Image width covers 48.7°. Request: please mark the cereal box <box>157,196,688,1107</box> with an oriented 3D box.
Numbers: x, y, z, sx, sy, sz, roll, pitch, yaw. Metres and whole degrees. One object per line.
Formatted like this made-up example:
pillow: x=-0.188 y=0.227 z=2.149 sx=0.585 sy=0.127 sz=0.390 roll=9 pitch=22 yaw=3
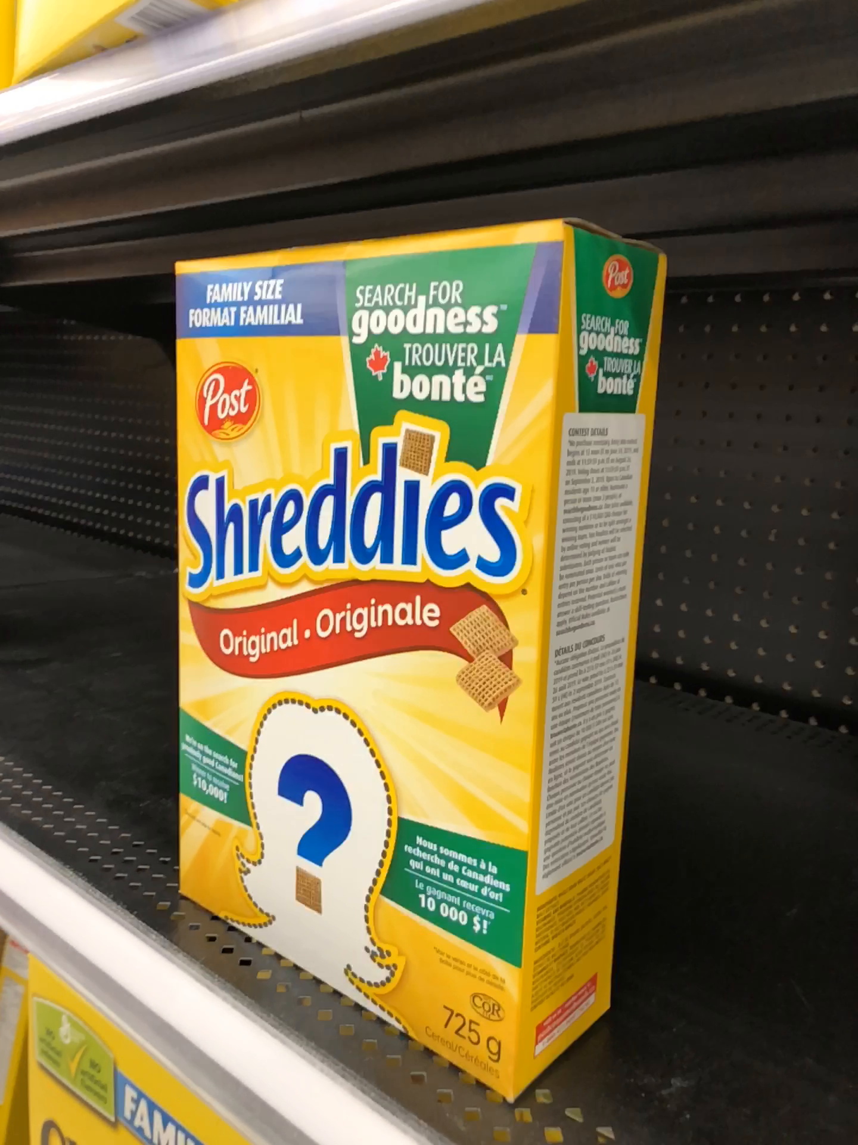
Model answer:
cereal box: x=-0.021 y=0.016 z=0.387 sx=0.210 sy=0.289 sz=0.070 roll=11 pitch=12 yaw=40
